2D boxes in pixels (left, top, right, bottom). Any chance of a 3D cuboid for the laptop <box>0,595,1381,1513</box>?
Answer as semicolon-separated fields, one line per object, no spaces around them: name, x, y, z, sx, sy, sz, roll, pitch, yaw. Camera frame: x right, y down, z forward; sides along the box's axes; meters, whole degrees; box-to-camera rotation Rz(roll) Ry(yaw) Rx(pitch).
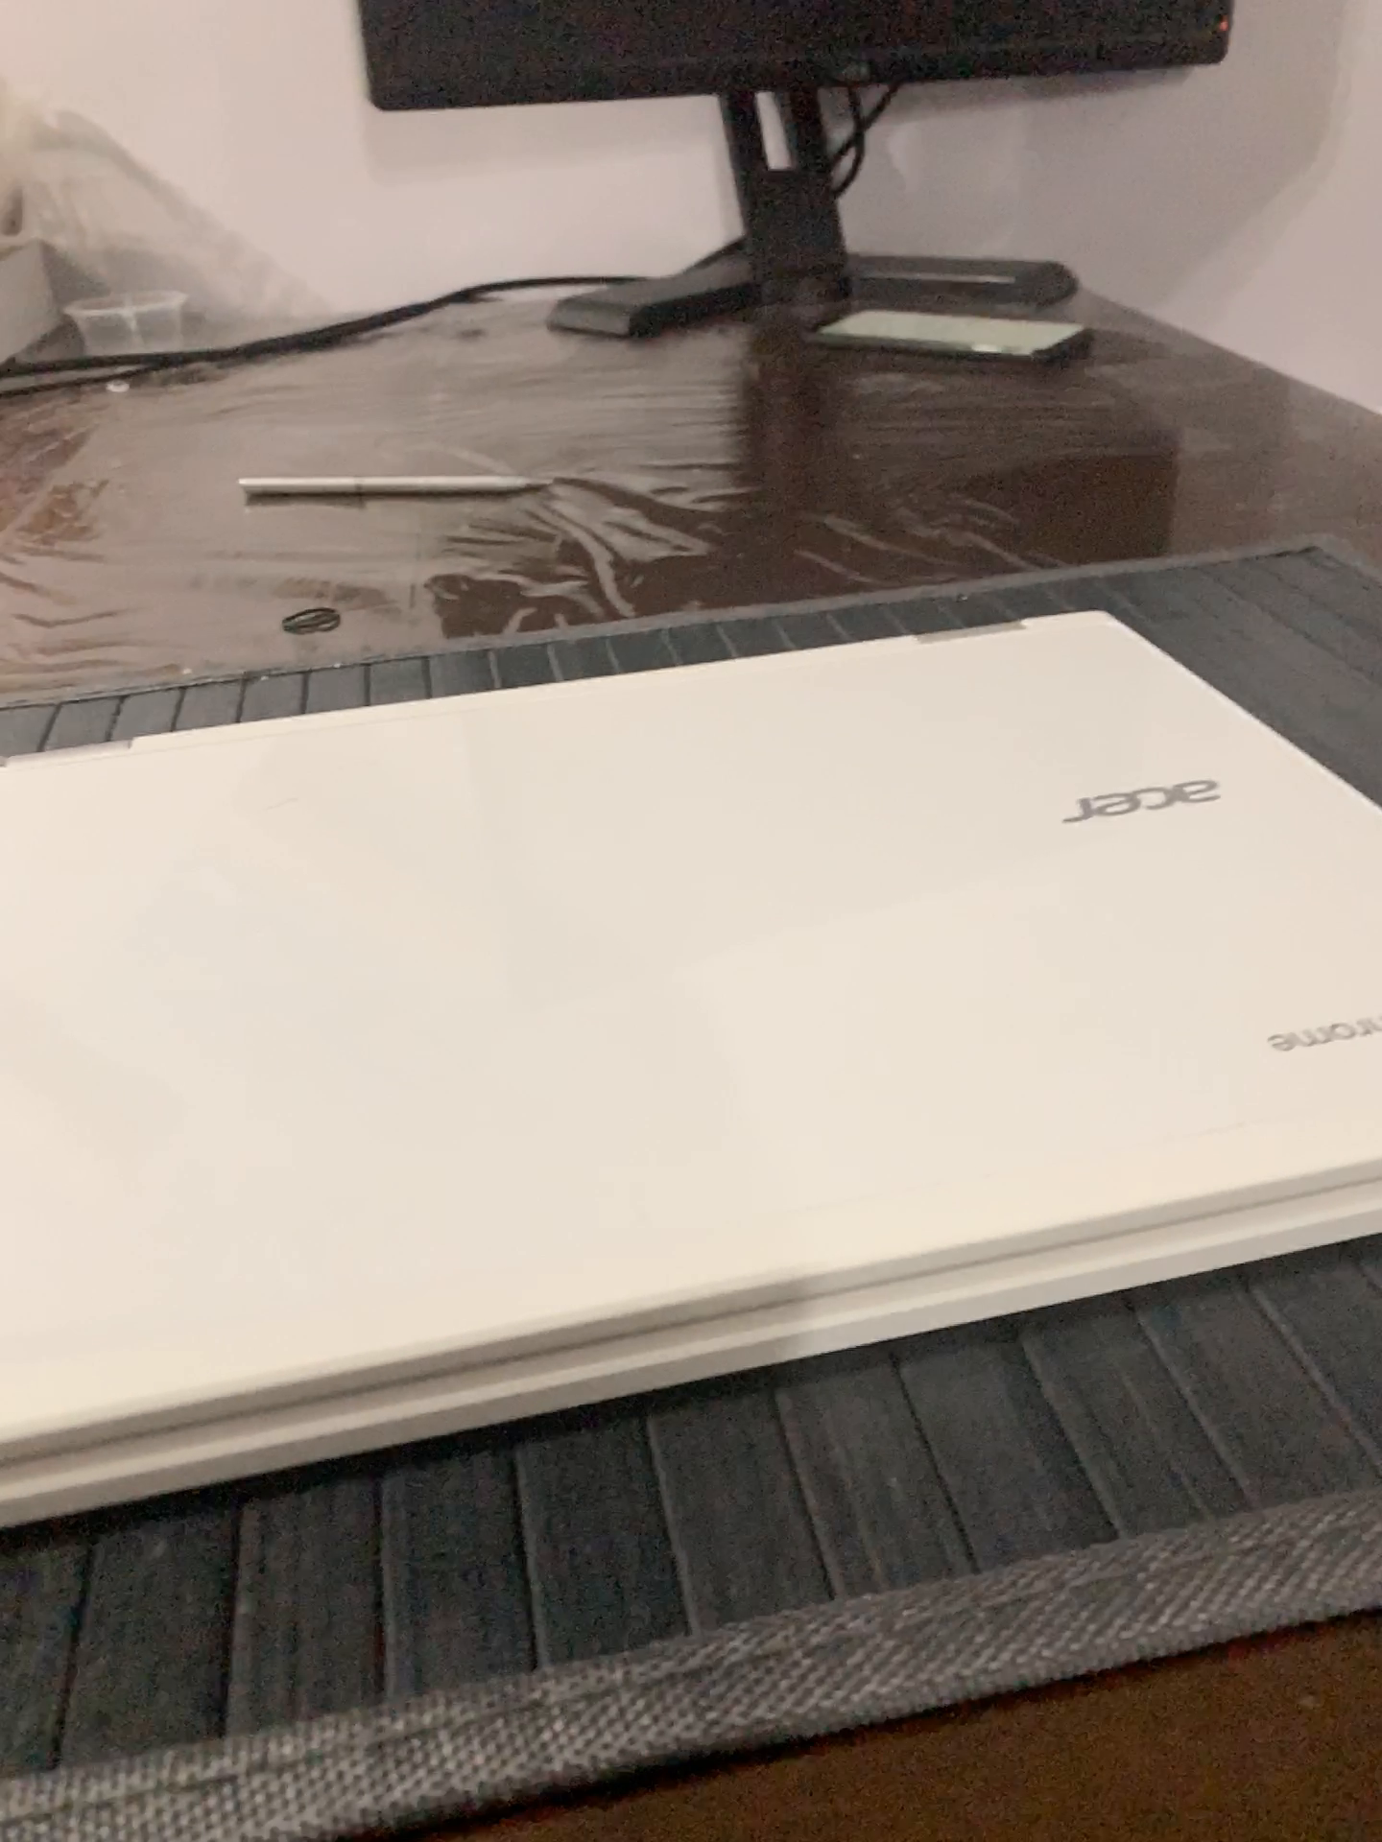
laptop;-0.011;-0.008;0.258;0.278;0.002;0.195;-10;32;-8
